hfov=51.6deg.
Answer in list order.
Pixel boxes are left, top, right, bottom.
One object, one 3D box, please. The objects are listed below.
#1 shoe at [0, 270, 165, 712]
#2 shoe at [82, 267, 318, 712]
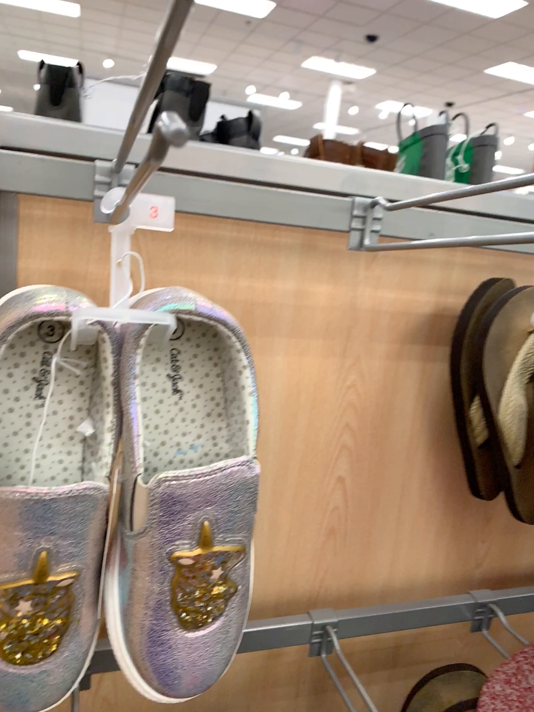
[{"bbox_3d":[-0.124,0.071,0.304,0.100,0.221,0.113,1,10,-22],"label":"shoe"},{"bbox_3d":[-0.051,0.064,0.332,0.100,0.221,0.113,1,10,-22],"label":"shoe"}]
